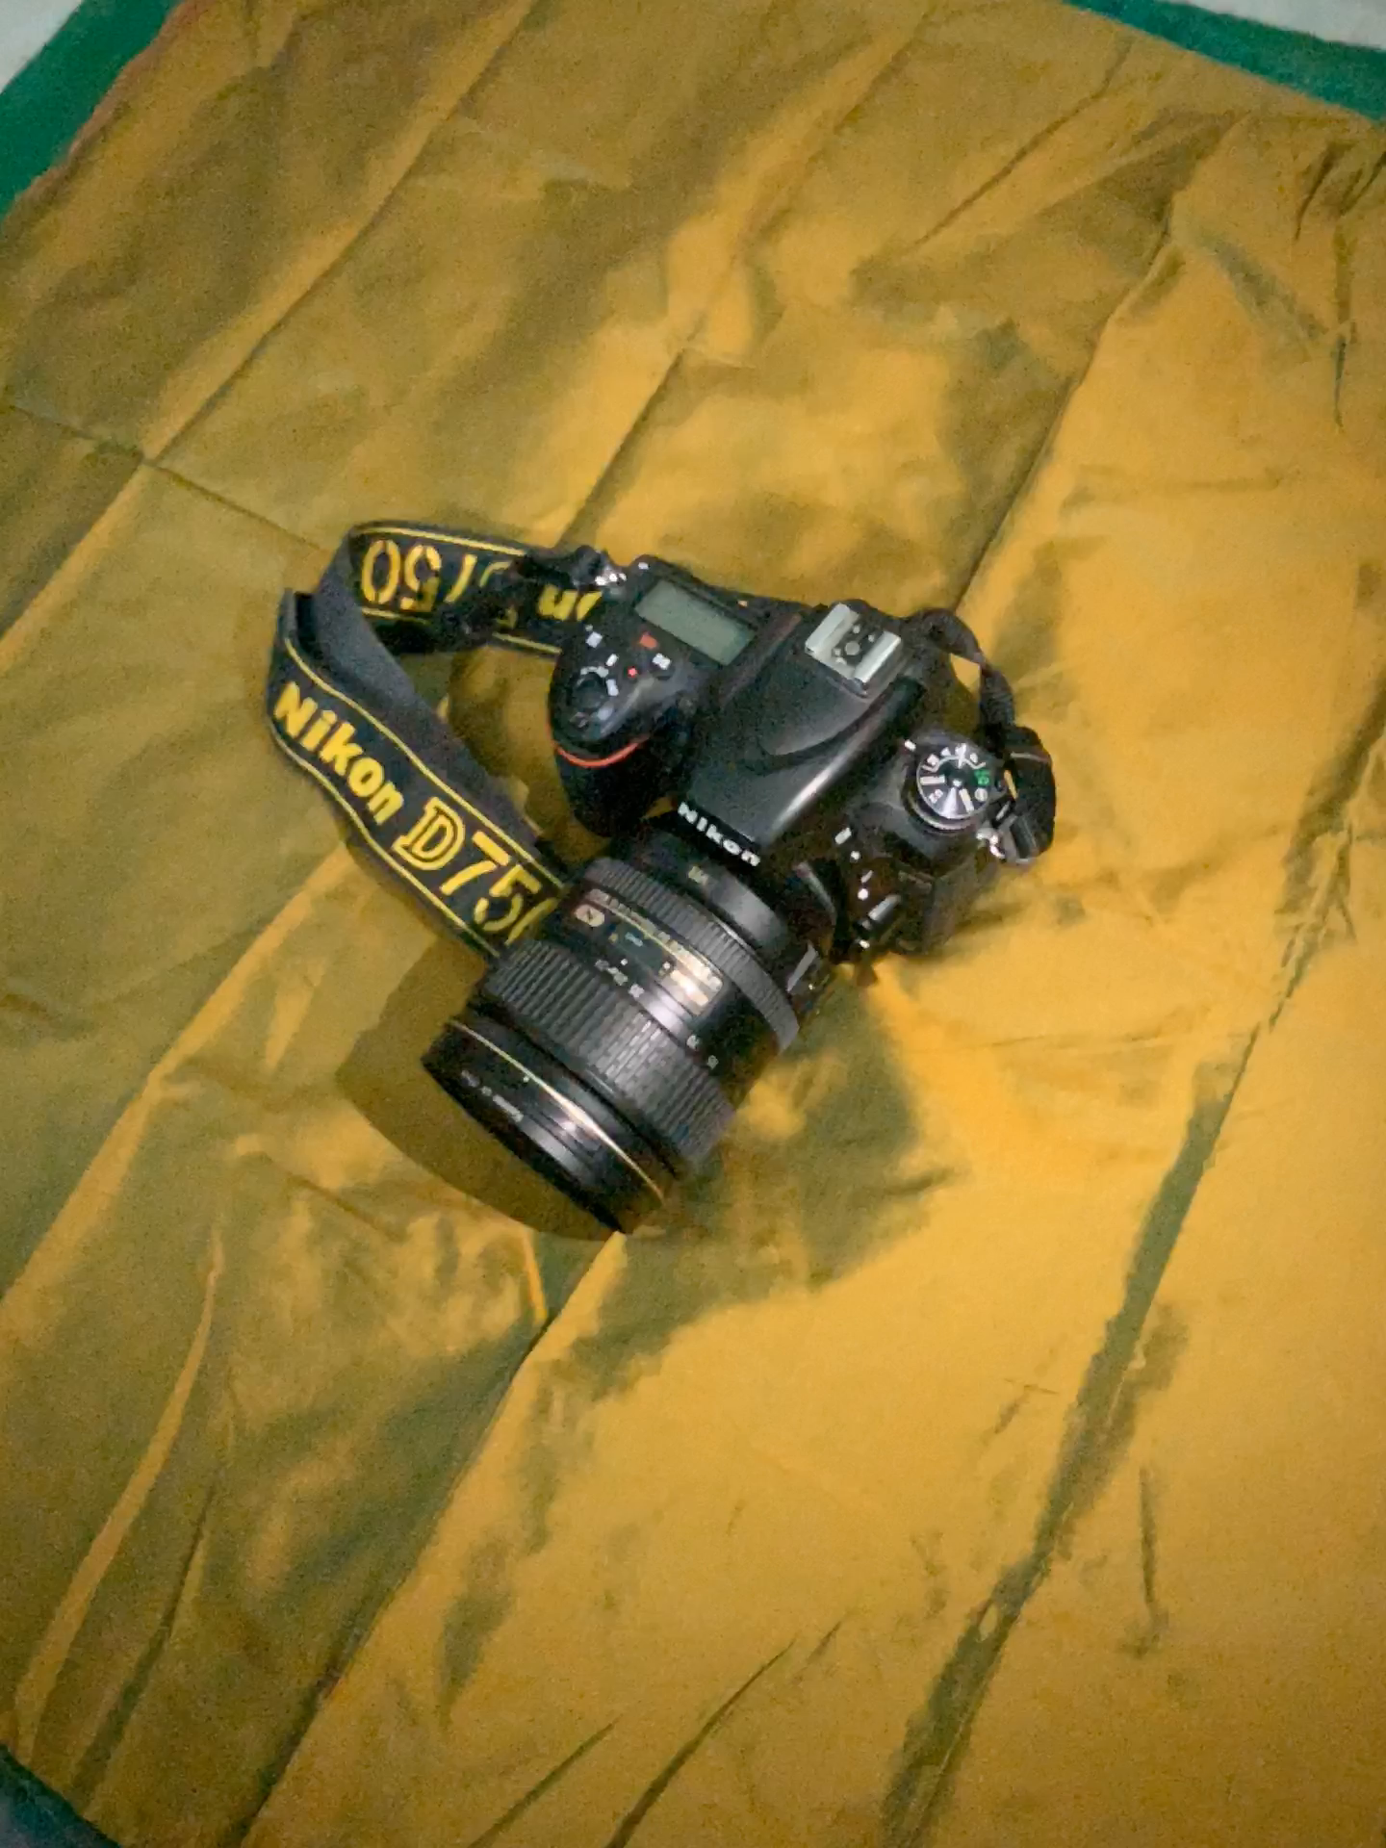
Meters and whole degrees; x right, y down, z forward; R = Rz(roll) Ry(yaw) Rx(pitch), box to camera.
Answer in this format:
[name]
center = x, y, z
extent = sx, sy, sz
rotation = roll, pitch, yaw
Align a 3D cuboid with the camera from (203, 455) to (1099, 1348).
[camera]
center = -0.006, -0.007, 0.421
extent = 0.150, 0.101, 0.190
rotation = 34, 73, 16
